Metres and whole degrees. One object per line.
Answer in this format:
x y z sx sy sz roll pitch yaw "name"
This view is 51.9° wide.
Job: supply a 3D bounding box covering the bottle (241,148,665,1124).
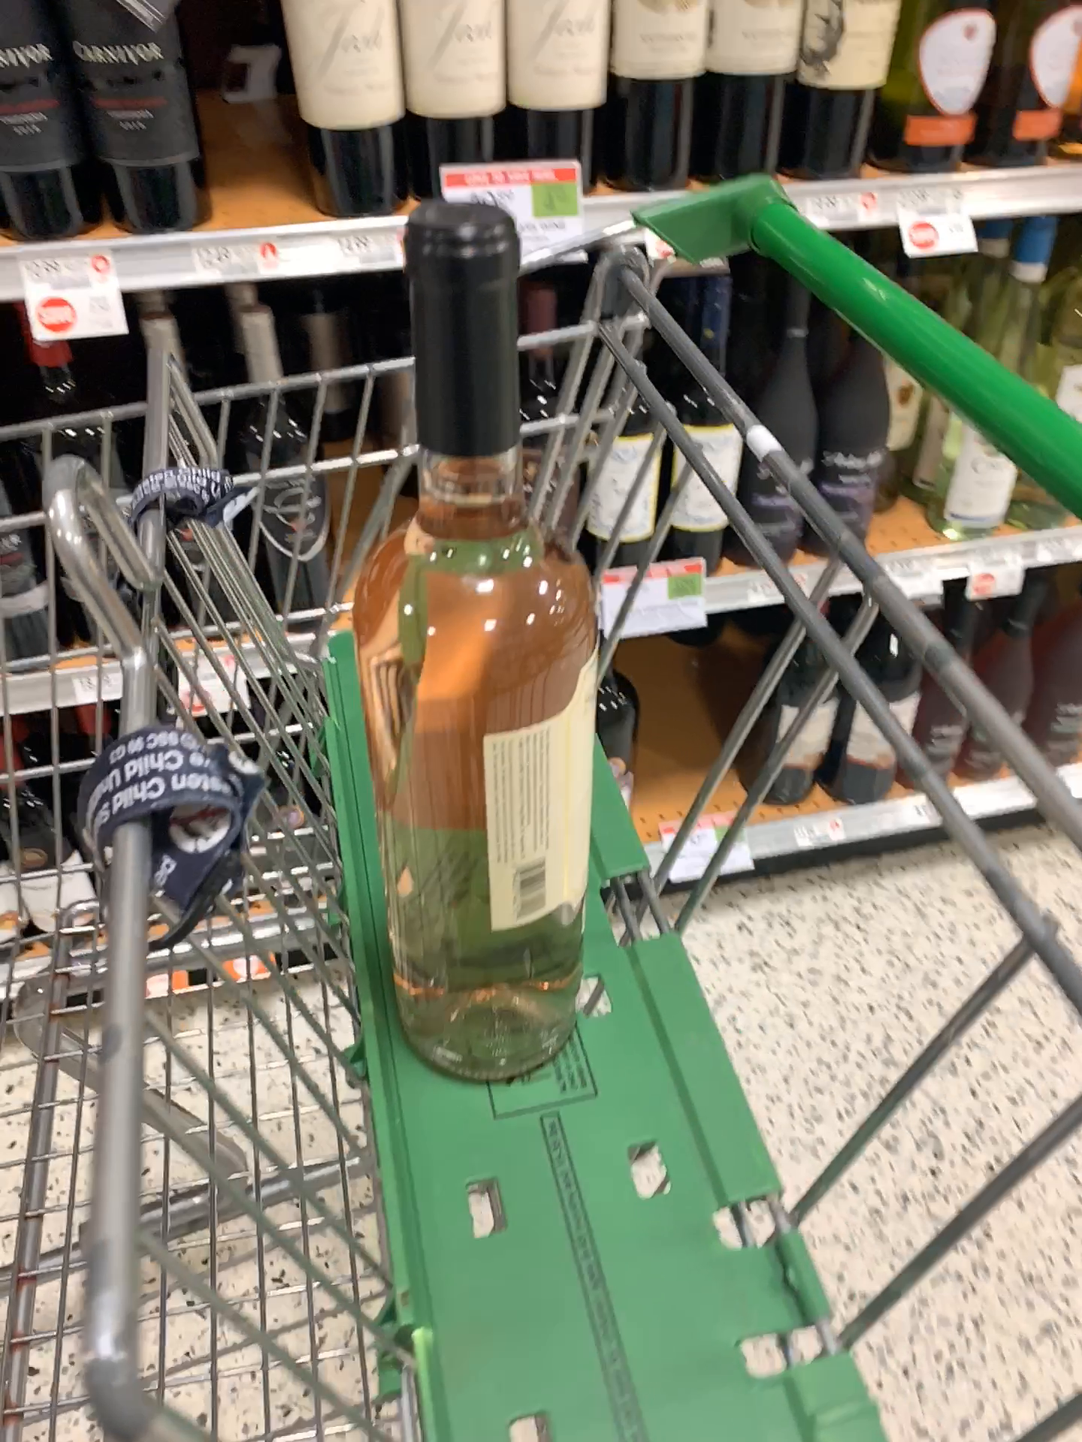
-0.025 0.000 0.360 0.086 0.315 0.084 0 40 0 "bottle"
